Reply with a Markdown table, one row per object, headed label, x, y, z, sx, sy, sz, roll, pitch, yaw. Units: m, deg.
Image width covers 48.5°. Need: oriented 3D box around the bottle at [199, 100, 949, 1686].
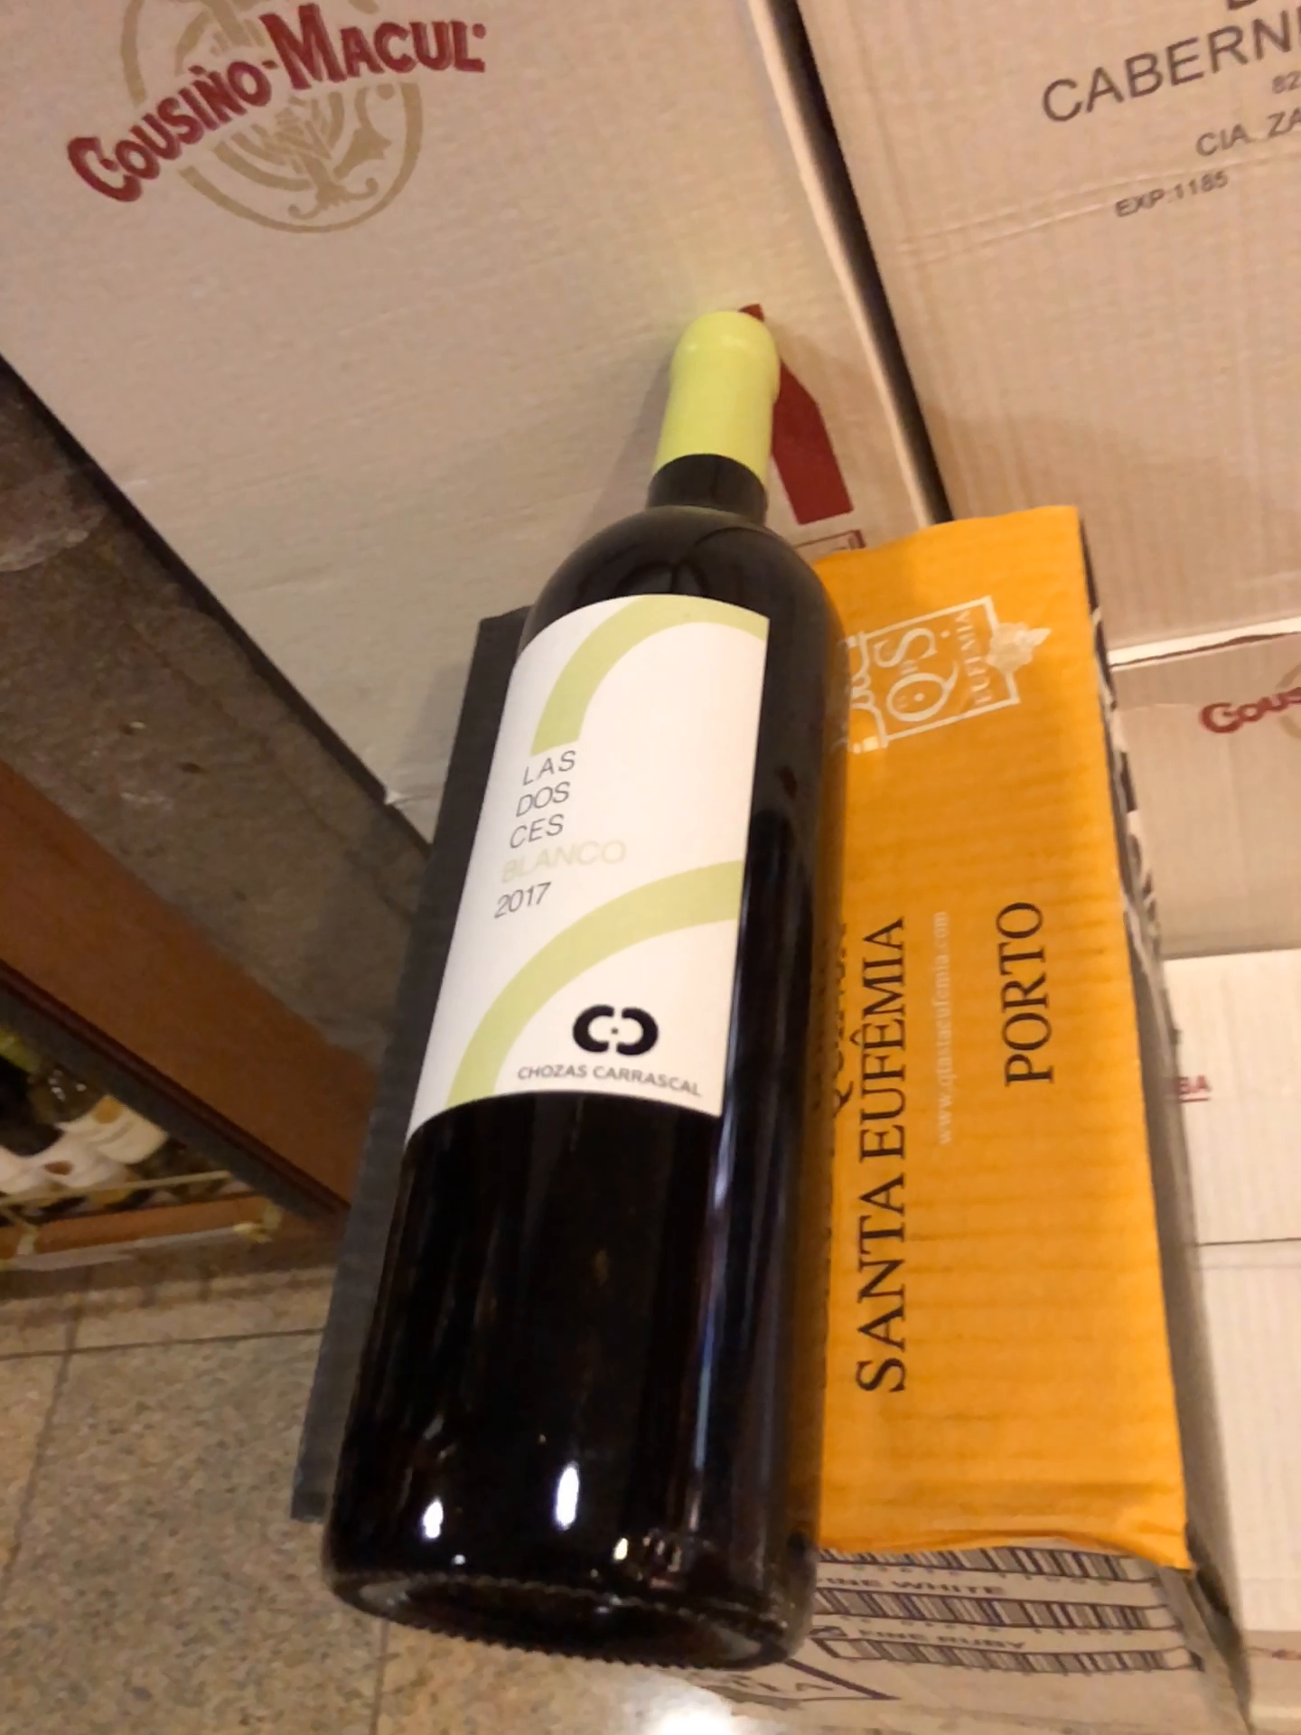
| label | x | y | z | sx | sy | sz | roll | pitch | yaw |
| --- | --- | --- | --- | --- | --- | --- | --- | --- | --- |
| bottle | 0.006 | -0.022 | 0.297 | 0.090 | 0.070 | 0.321 | -7 | 55 | 21 |
